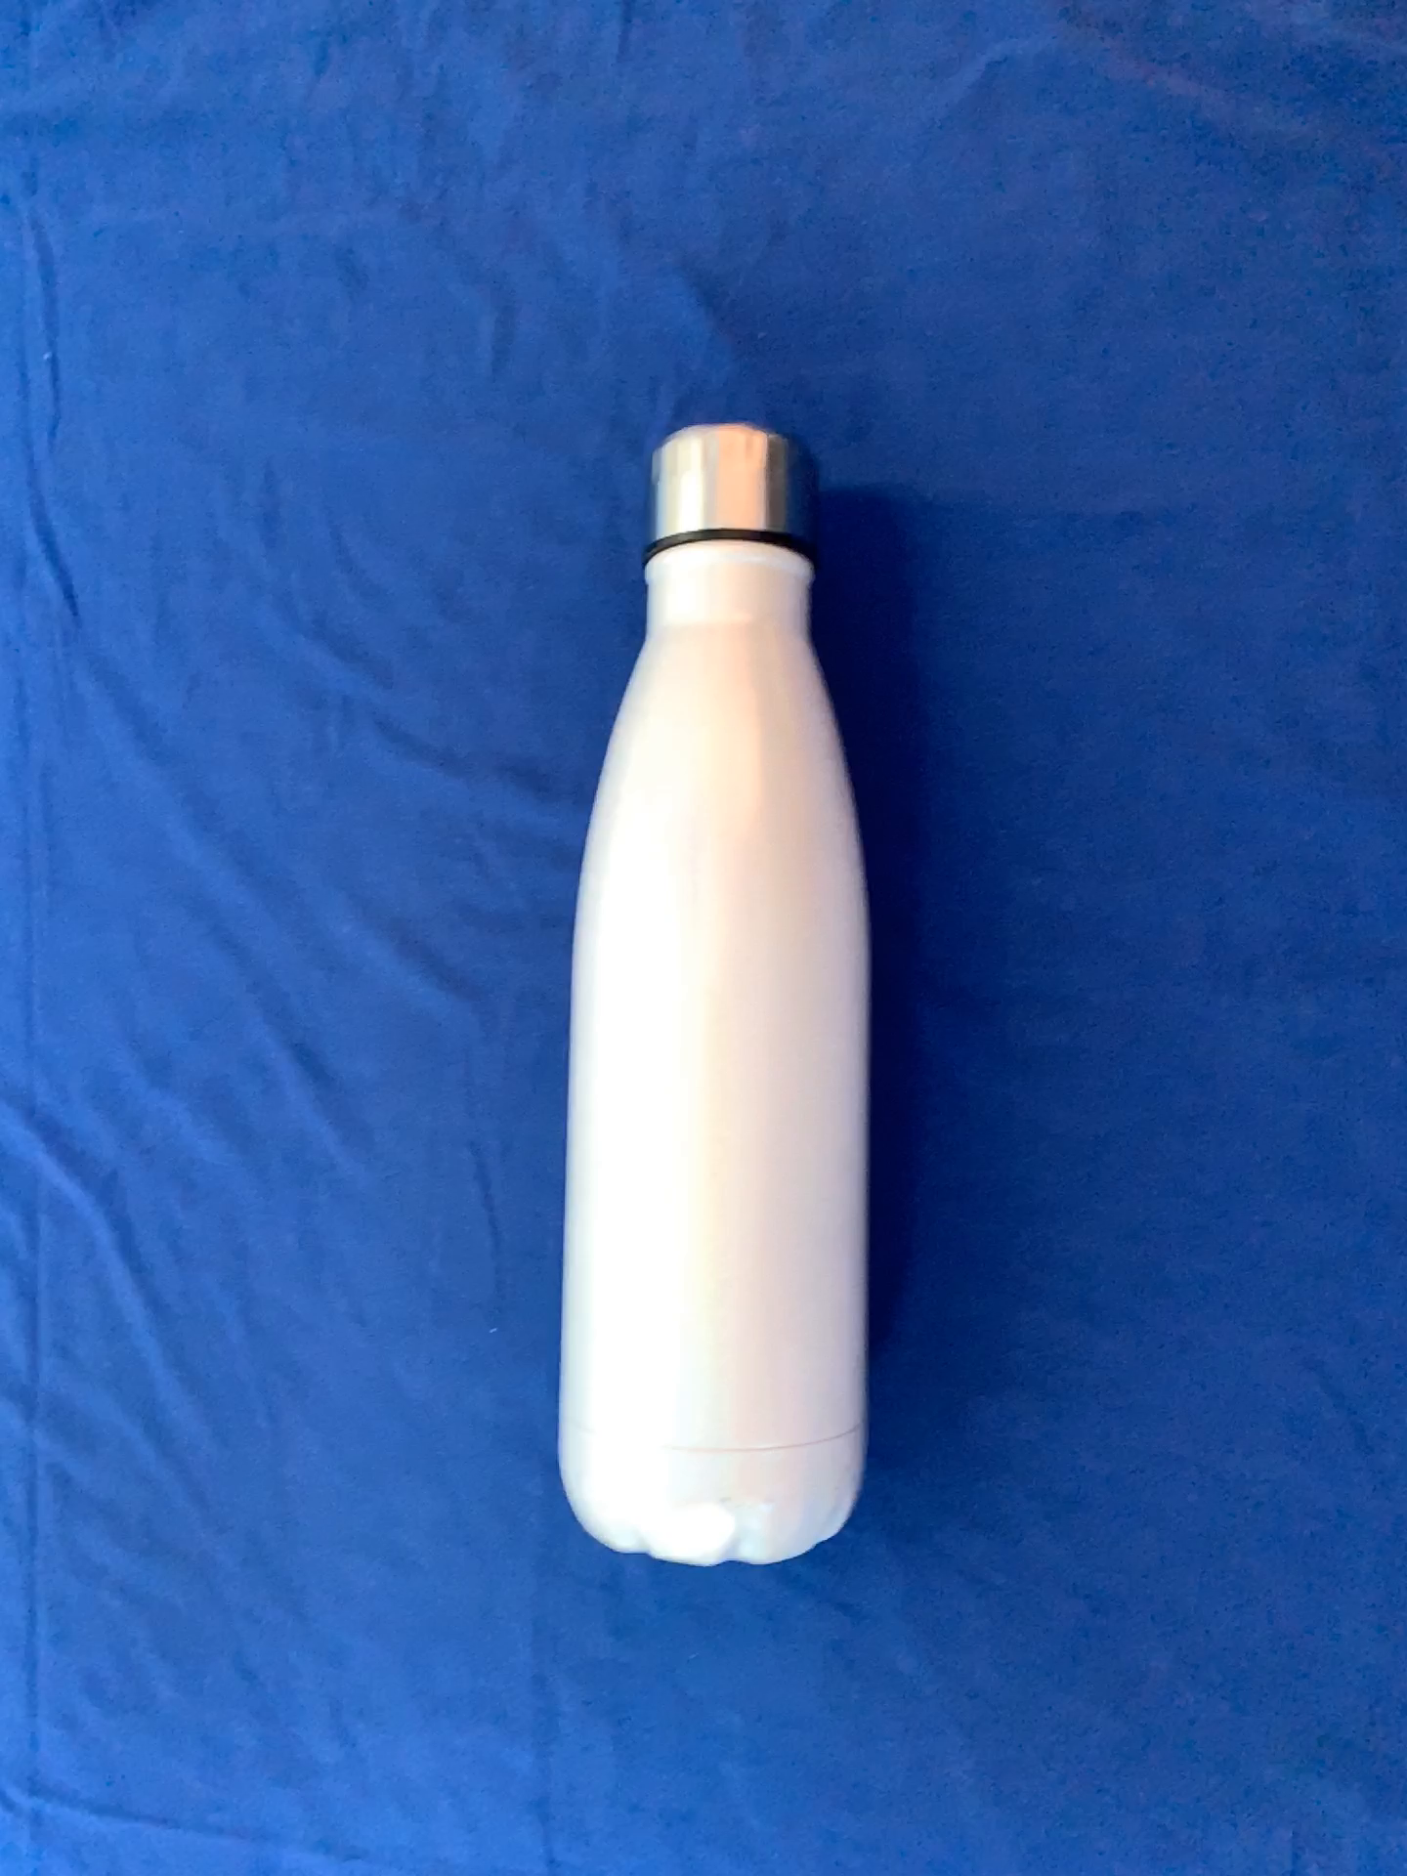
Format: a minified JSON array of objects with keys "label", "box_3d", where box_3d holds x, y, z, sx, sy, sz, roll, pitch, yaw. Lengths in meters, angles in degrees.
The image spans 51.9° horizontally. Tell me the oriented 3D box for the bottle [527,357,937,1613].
[{"label":"bottle","box_3d":[0.009,0.008,0.336,0.080,0.050,0.260,0,87,20]}]
